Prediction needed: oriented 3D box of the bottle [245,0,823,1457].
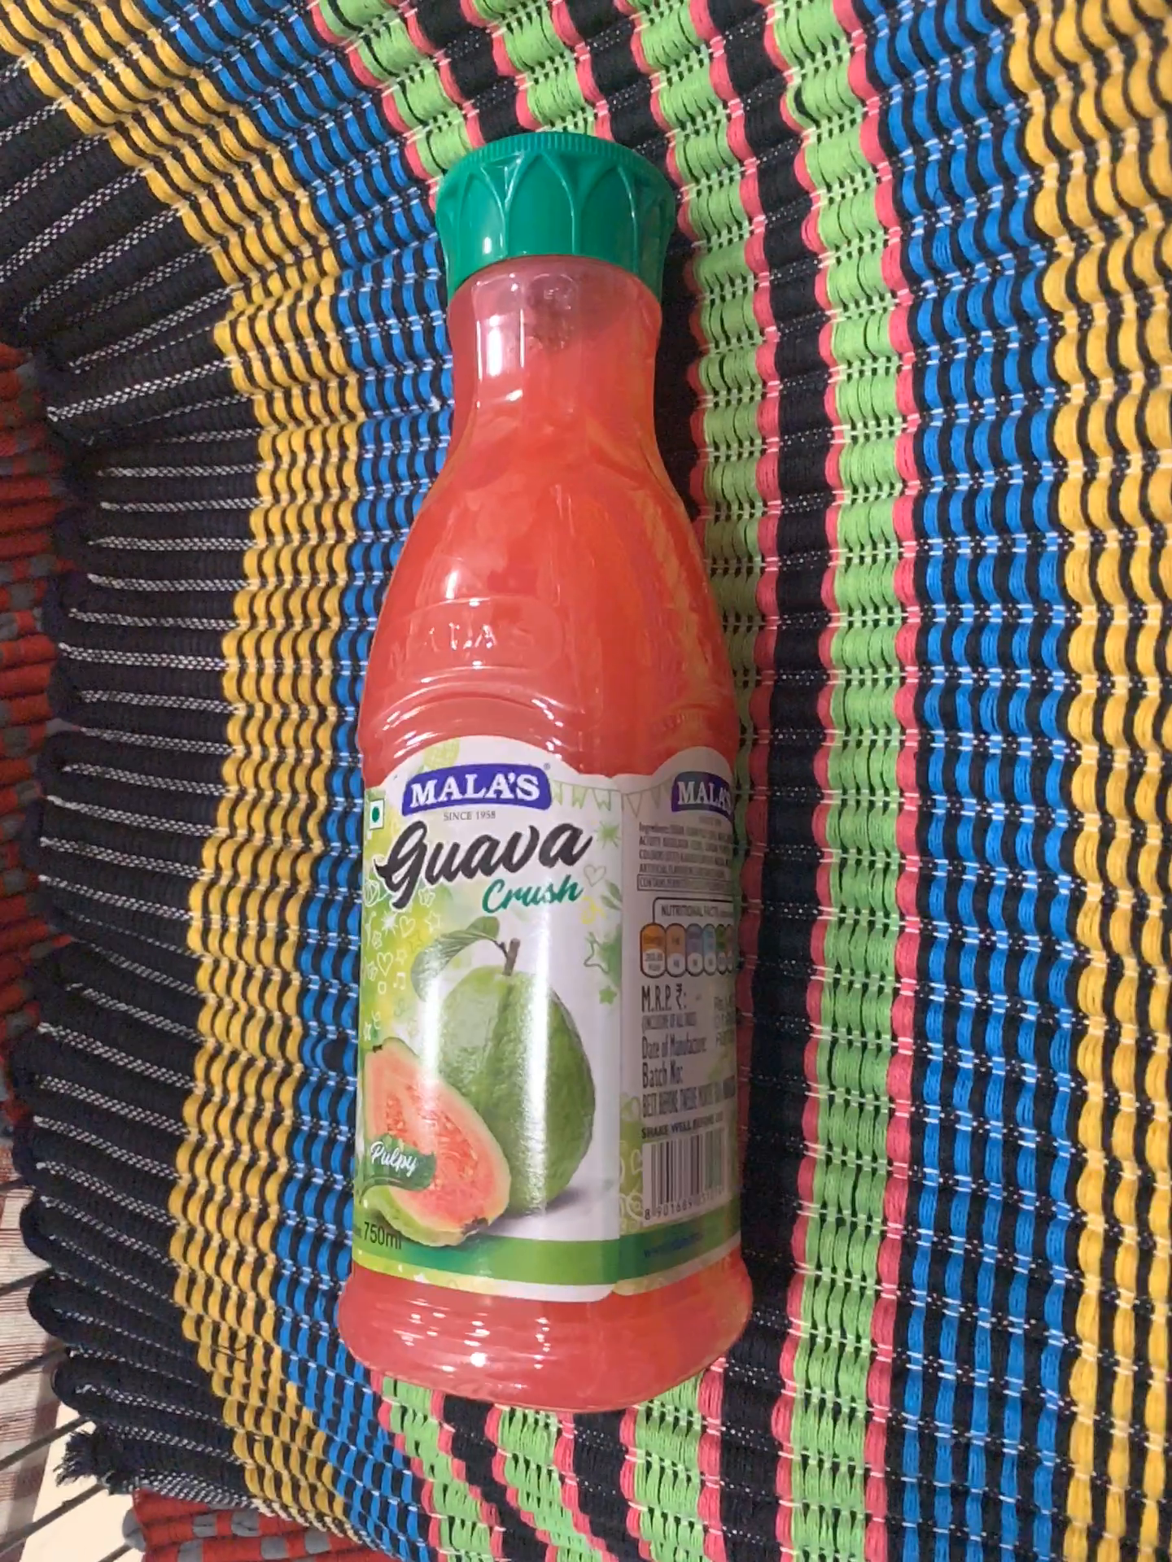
[{"bbox_3d":[-0.005,-0.019,0.255,0.080,0.080,0.260,-5,78,30],"label":"bottle"}]
